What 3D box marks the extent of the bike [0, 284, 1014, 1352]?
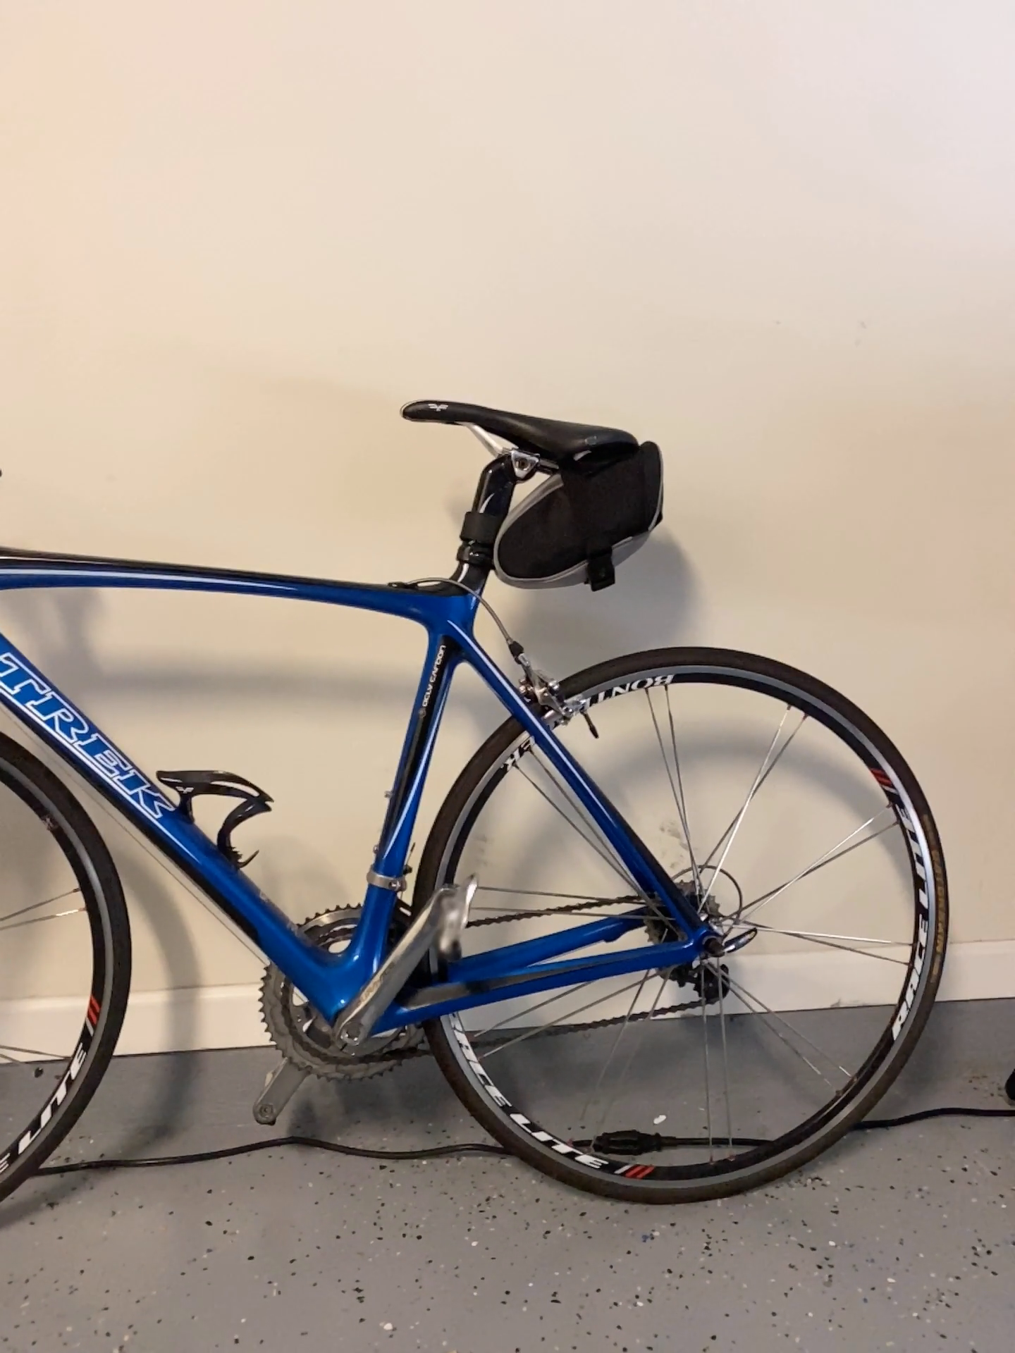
[{"bbox_3d":[-0.169,0.236,1.086,1.639,0.883,0.401,2,8,-20],"label":"bike"}]
